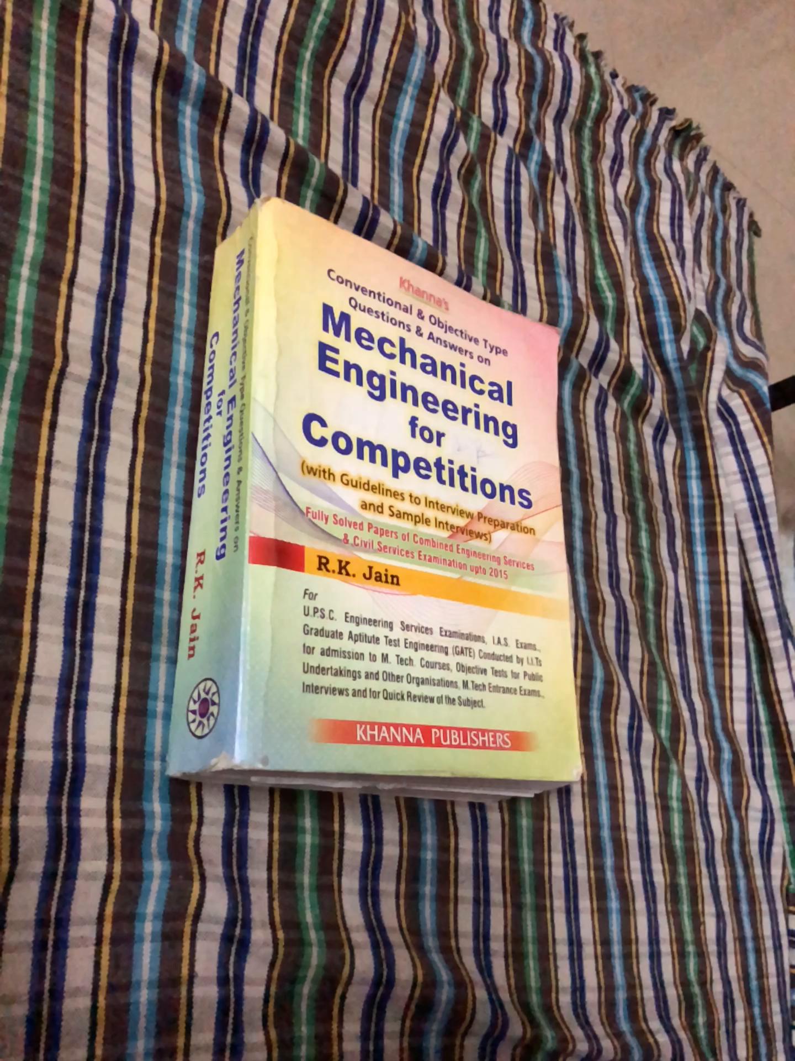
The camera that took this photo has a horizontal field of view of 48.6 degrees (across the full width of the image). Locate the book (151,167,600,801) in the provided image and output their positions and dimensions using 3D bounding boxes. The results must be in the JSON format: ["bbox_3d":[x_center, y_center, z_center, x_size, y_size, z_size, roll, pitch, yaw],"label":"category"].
[{"bbox_3d":[-0.001,-0.008,0.464,0.211,0.077,0.280,16,65,-38],"label":"book"}]
